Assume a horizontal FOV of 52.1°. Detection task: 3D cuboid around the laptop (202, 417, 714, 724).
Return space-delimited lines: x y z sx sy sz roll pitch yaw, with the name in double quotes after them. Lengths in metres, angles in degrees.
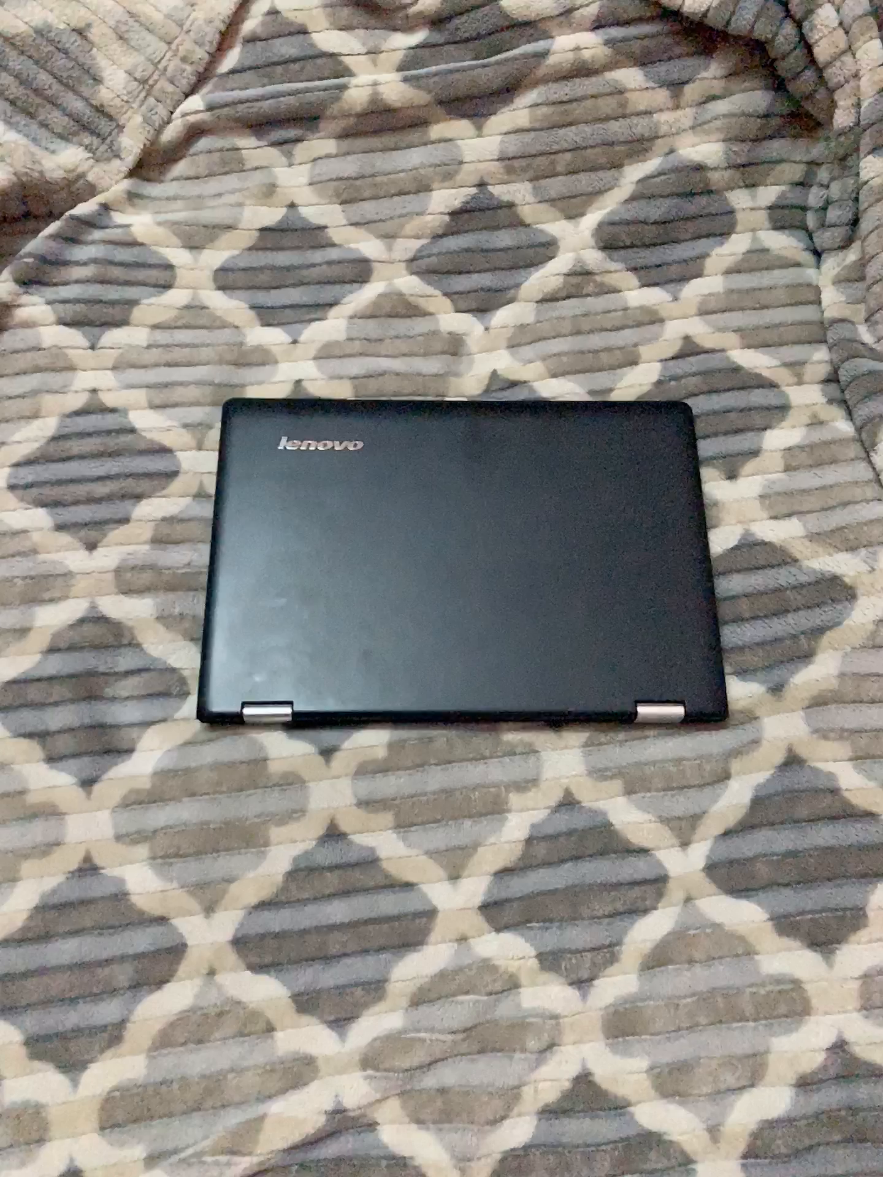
0.013 -0.019 0.635 0.338 0.003 0.228 0 70 -2 "laptop"
